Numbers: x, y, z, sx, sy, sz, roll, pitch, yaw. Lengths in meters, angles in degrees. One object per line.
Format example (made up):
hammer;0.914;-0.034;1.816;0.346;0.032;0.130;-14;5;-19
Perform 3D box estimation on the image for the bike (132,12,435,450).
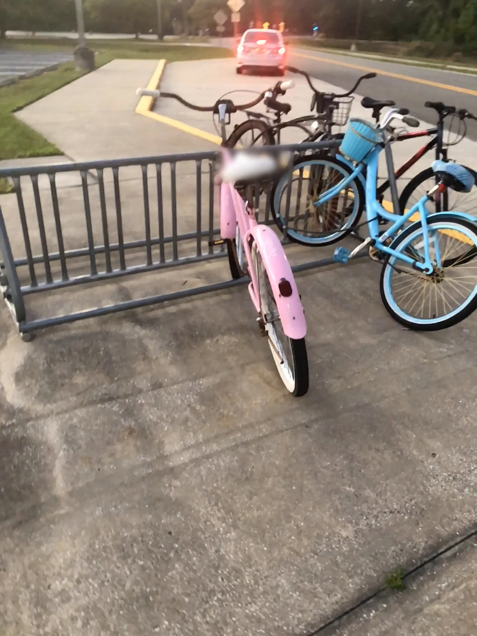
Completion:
bike;0.011;-0.565;2.305;0.838;1.115;1.663;-3;35;-9
